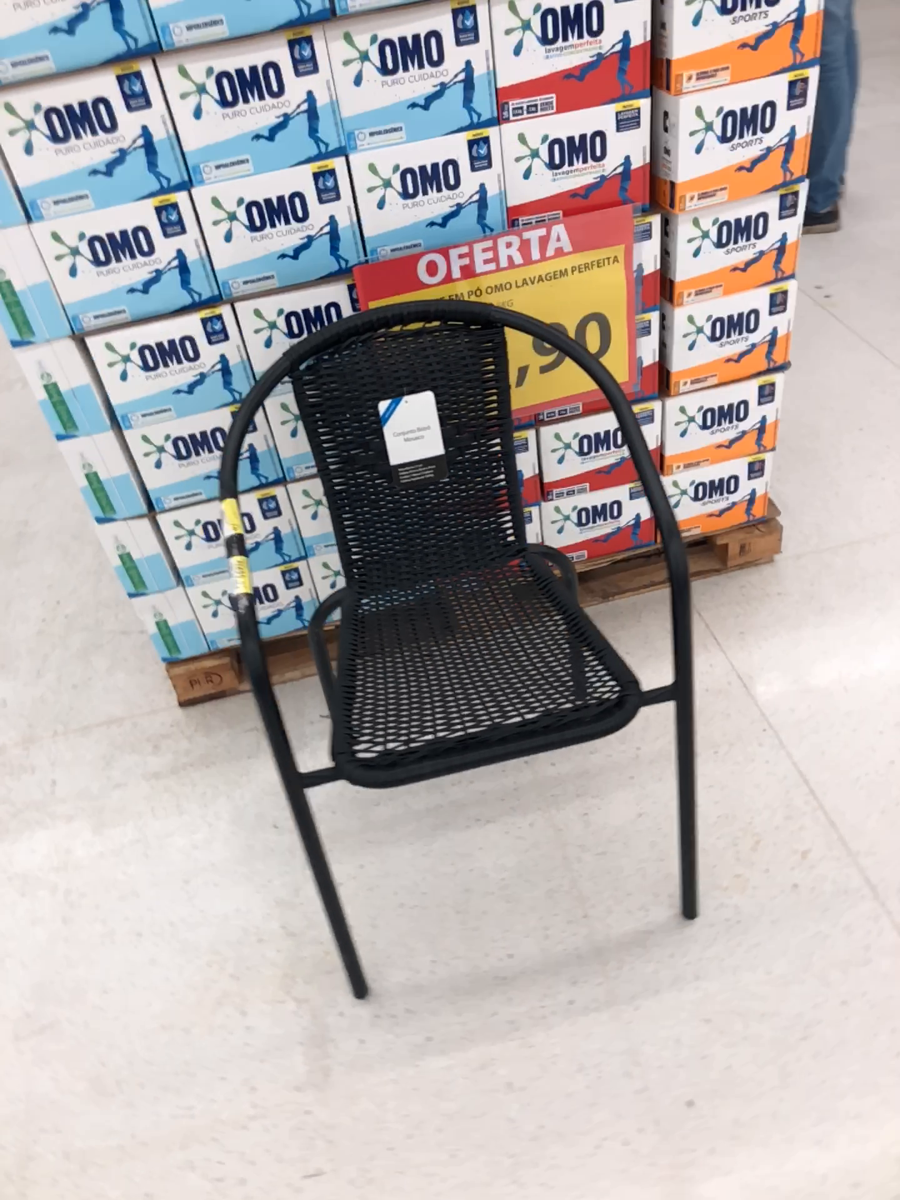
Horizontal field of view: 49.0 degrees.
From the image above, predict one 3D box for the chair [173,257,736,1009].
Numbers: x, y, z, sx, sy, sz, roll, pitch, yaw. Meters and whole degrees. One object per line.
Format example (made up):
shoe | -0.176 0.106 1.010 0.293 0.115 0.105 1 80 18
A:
chair | 0.009 0.050 1.274 0.500 0.725 0.504 -13 40 -4
